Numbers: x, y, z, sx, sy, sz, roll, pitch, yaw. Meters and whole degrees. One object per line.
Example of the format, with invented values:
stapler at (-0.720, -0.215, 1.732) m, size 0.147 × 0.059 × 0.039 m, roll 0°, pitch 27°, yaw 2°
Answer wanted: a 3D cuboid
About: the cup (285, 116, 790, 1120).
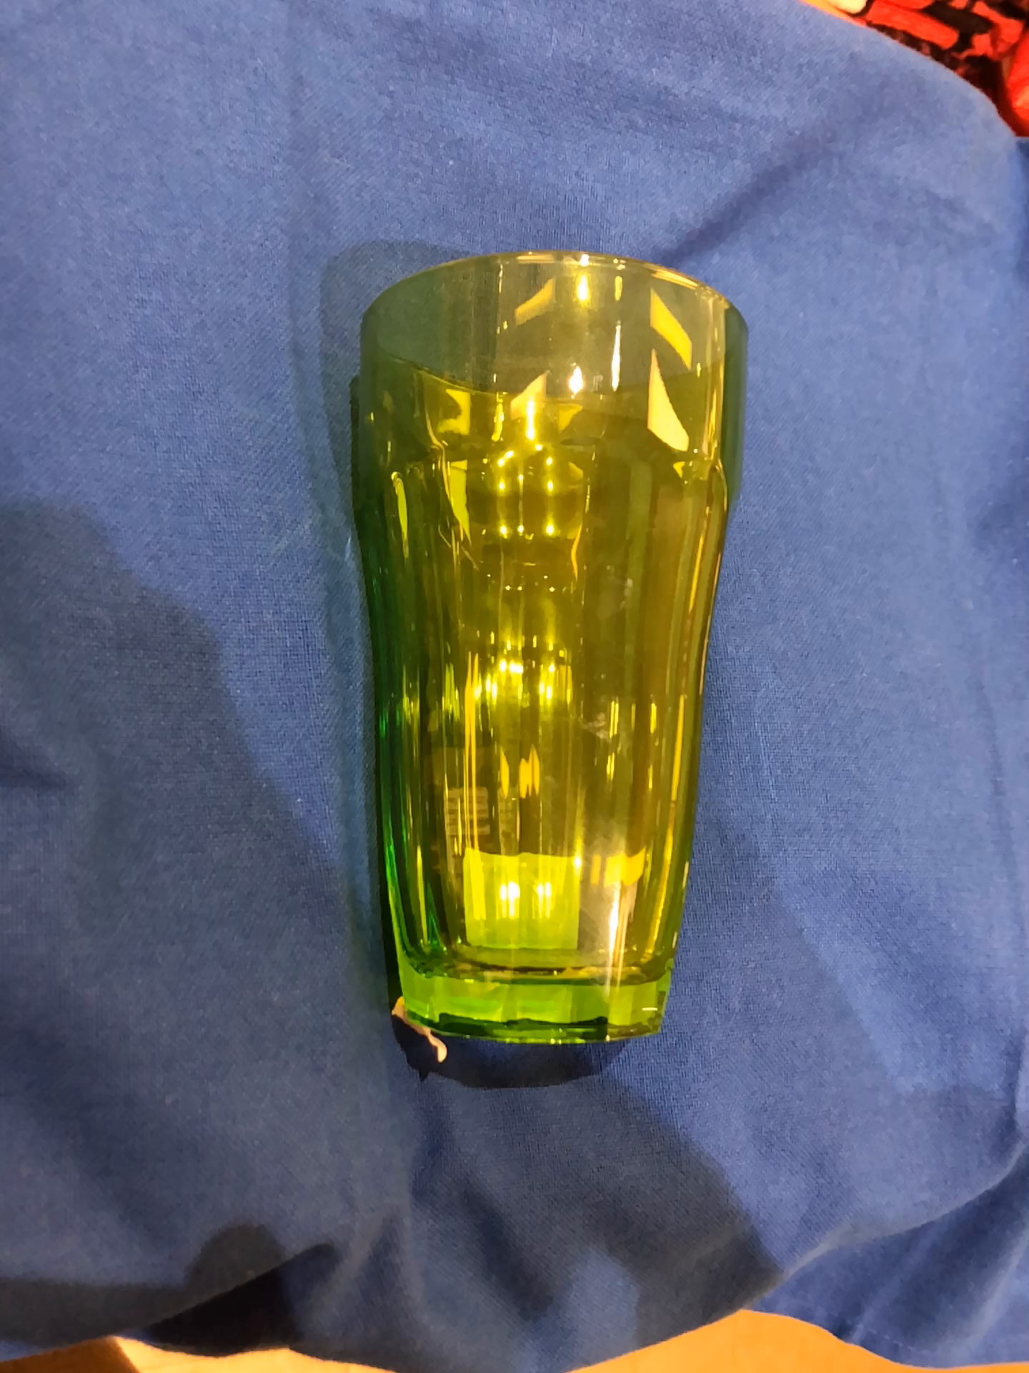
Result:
cup at (0.003, -0.009, 0.229) m, size 0.070 × 0.070 × 0.160 m, roll 5°, pitch 83°, yaw -33°
